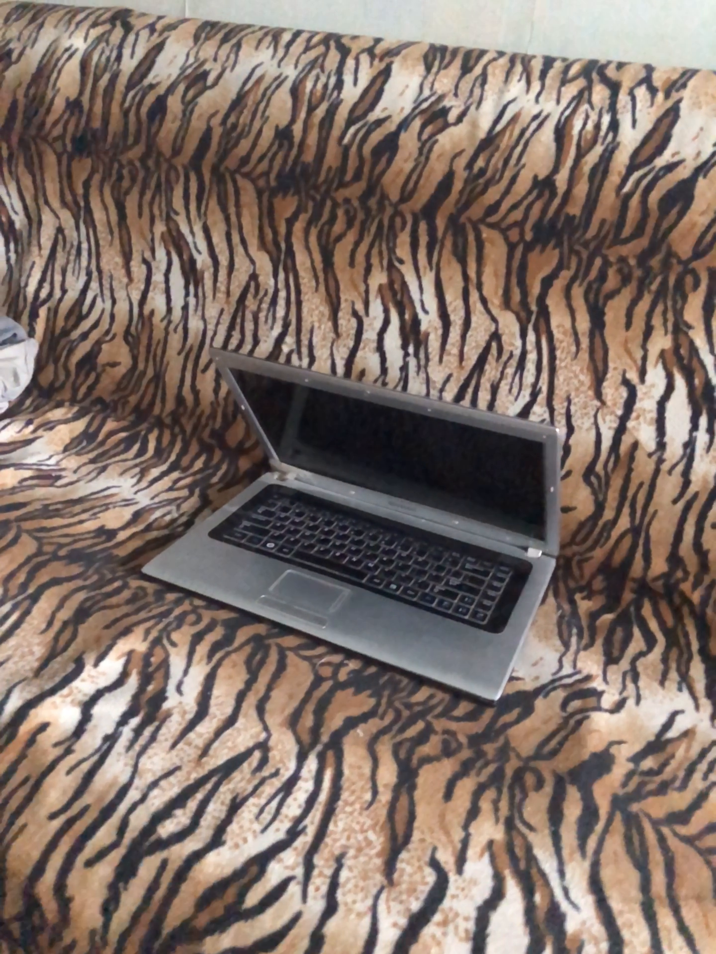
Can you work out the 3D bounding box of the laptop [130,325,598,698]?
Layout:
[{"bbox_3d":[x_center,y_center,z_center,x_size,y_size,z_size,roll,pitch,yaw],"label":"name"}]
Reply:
[{"bbox_3d":[0.007,0.005,0.739,0.350,0.179,0.239,16,30,20],"label":"laptop"}]
